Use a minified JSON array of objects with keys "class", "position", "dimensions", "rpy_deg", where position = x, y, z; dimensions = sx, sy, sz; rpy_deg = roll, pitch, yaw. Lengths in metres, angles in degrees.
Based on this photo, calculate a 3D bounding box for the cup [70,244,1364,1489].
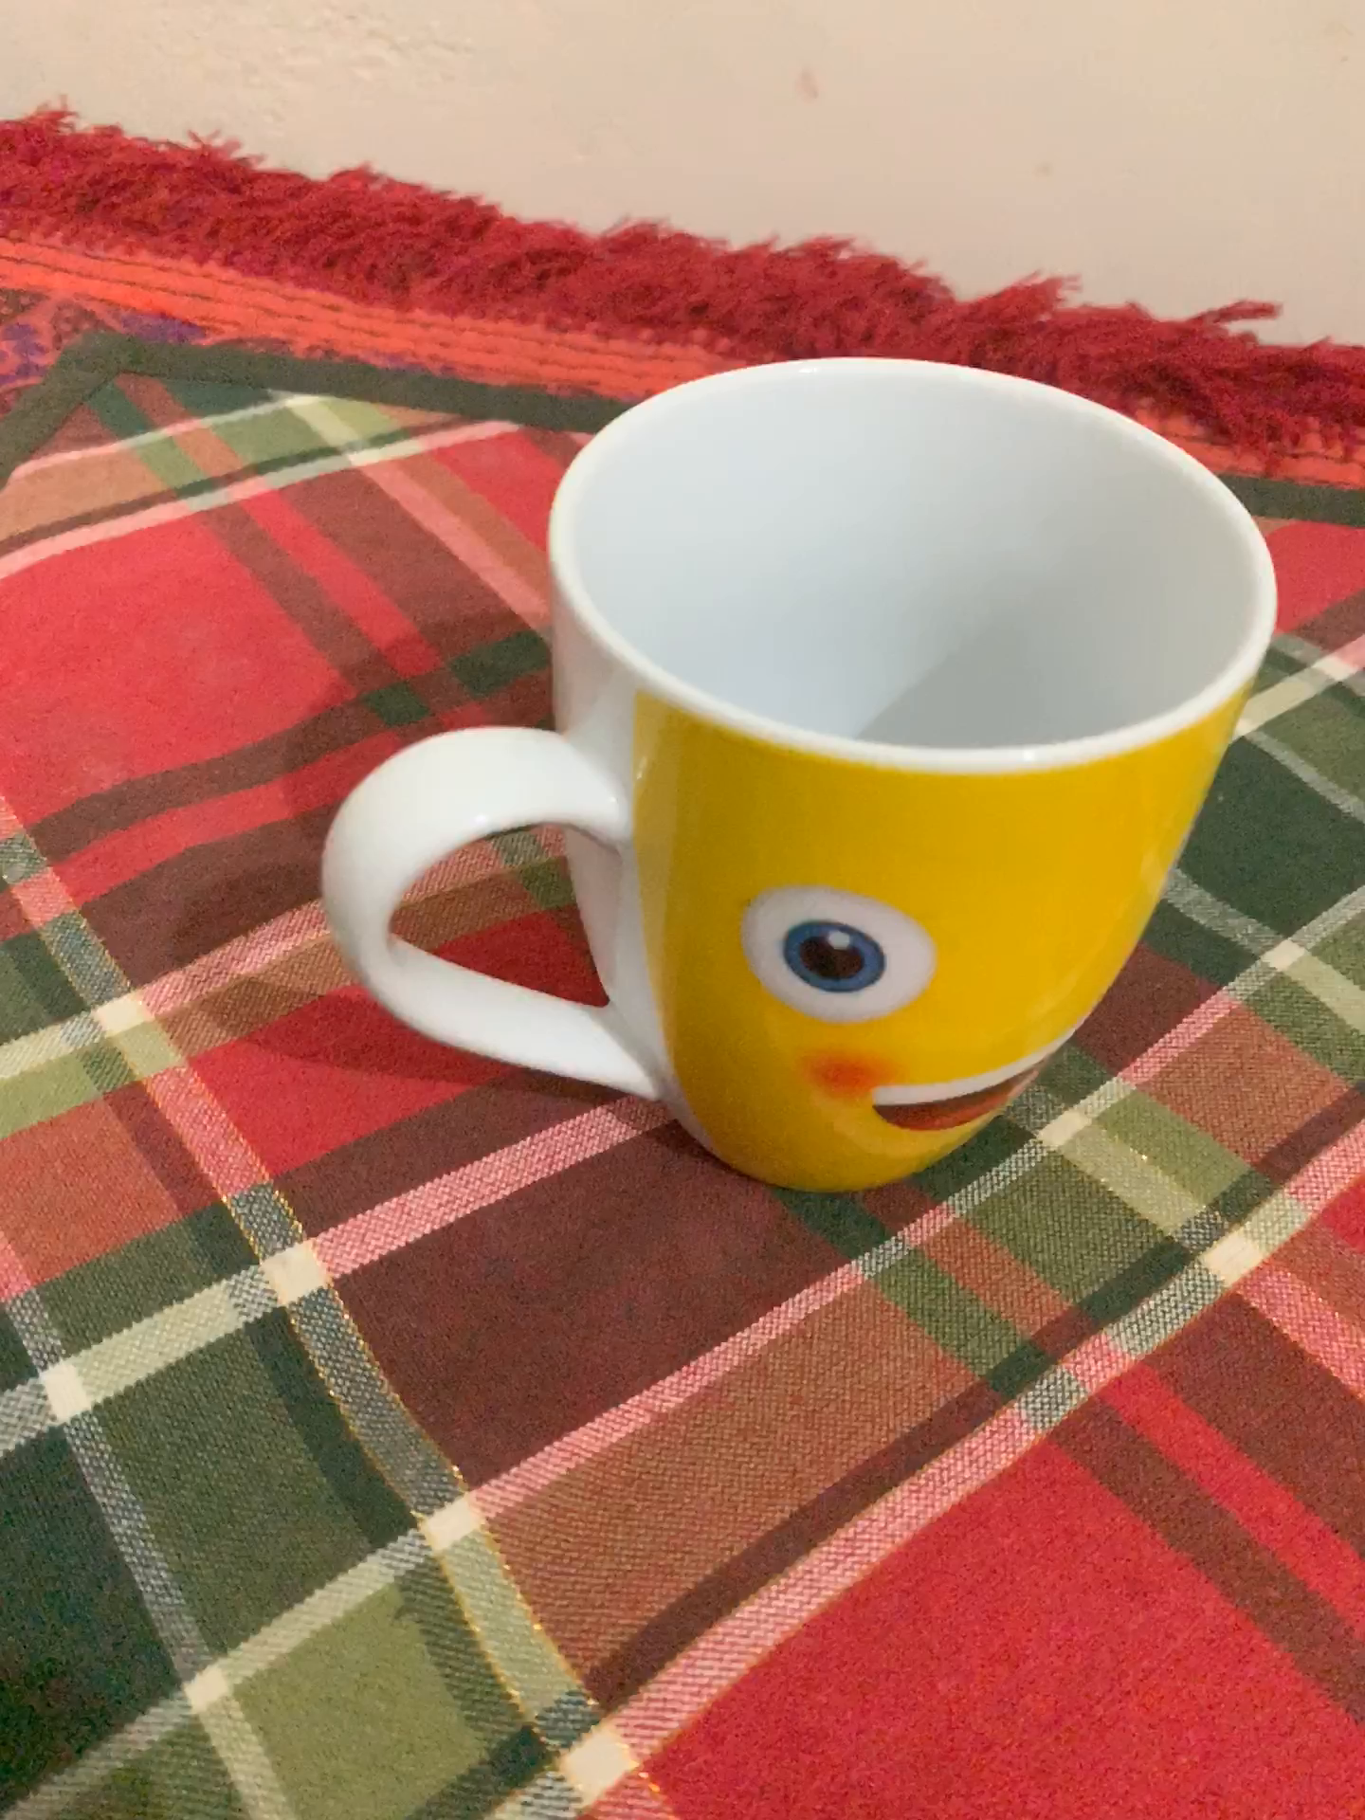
[{"class":"cup","position":[0.010,-0.011,0.167],"dimensions":[0.120,0.080,0.080],"rpy_deg":[-21,53,-20]}]
